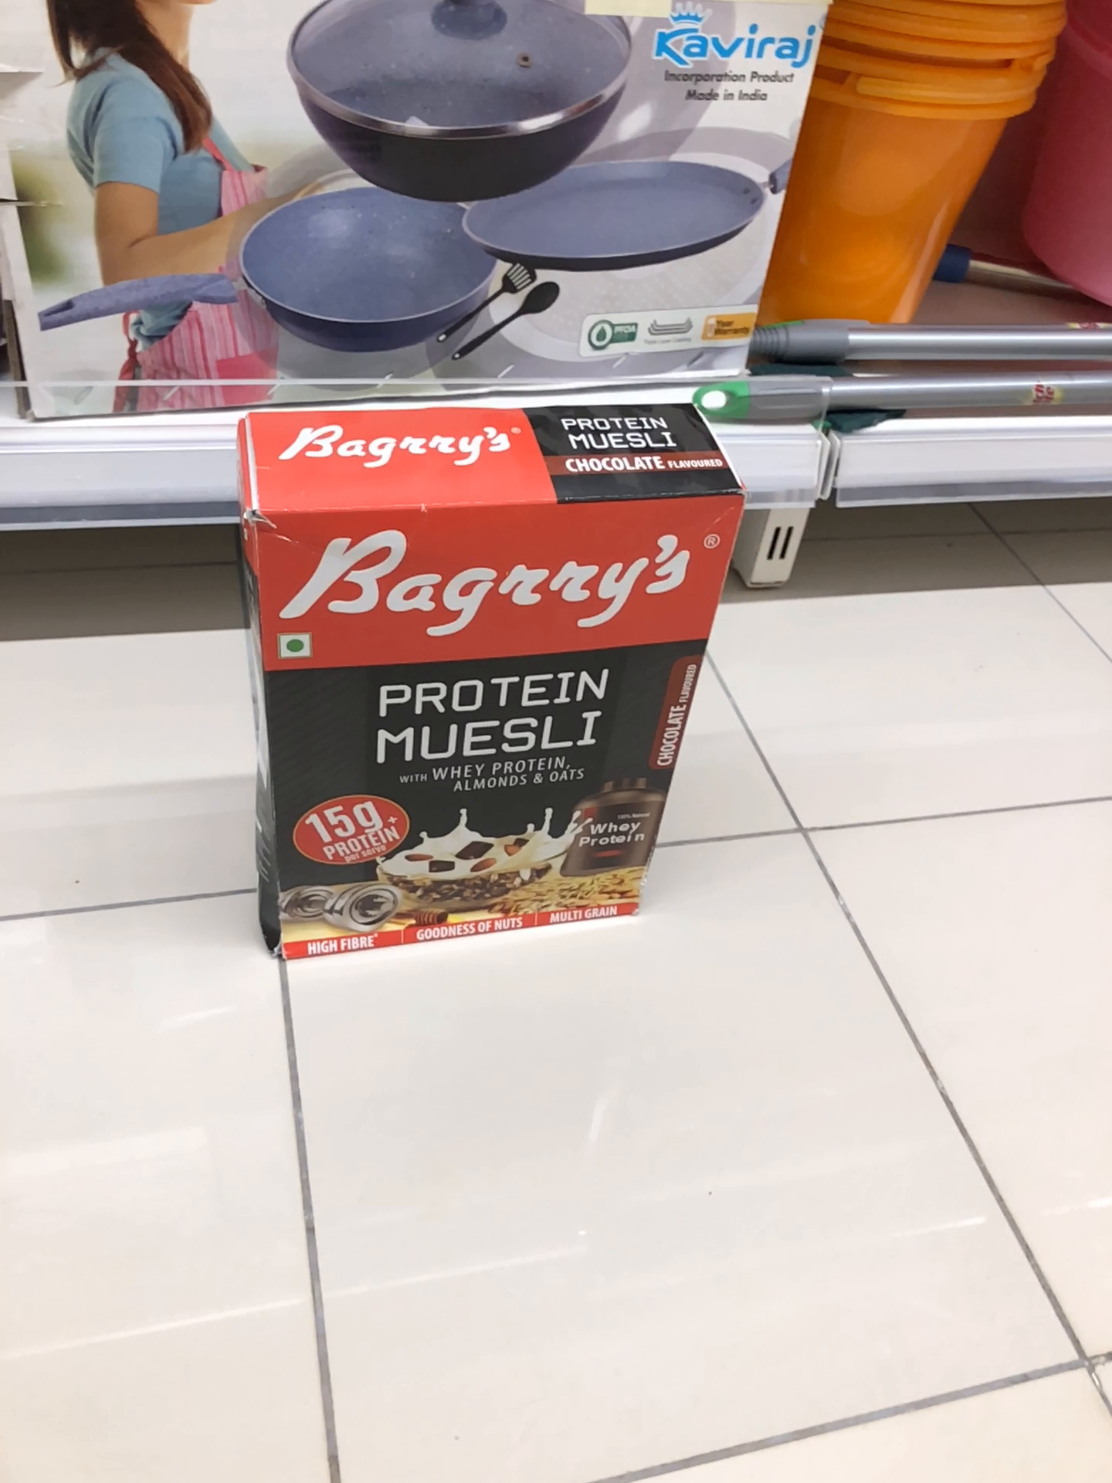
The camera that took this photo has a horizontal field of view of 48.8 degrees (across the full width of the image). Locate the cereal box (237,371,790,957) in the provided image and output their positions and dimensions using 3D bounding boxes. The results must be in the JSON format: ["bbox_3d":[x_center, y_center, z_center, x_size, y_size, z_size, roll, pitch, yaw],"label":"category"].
[{"bbox_3d":[-0.029,-0.027,0.526,0.190,0.238,0.080,-5,42,-15],"label":"cereal box"}]
